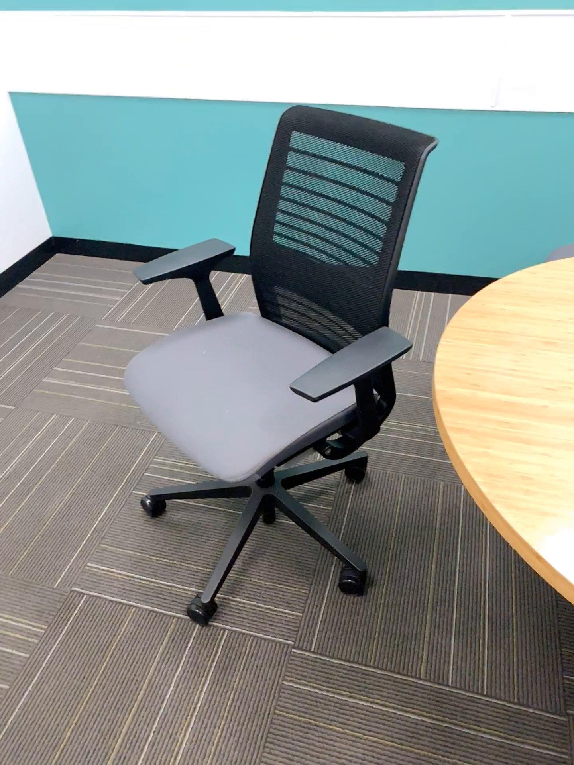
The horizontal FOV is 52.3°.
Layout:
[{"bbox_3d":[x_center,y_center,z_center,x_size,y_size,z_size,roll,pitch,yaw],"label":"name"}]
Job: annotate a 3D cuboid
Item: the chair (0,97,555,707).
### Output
[{"bbox_3d":[-0.022,-0.023,1.413,0.841,0.984,0.733,-32,47,-33],"label":"chair"}]
